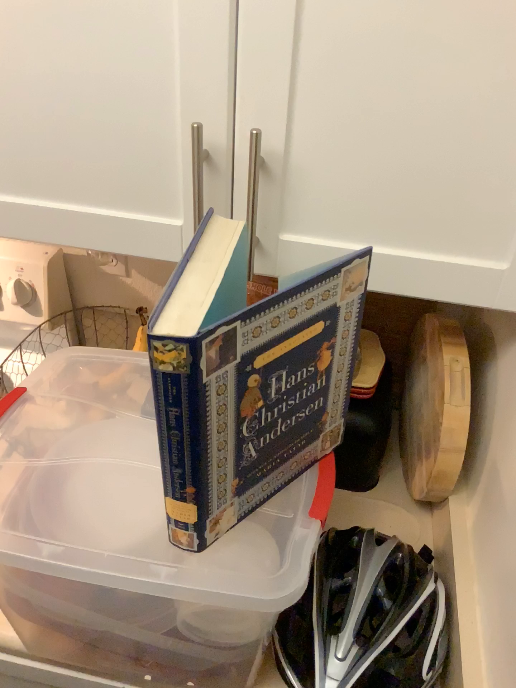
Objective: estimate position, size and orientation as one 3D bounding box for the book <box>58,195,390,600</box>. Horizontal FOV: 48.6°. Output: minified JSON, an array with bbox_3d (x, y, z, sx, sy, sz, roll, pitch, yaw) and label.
[{"bbox_3d":[-0.019,0.039,0.572,0.200,0.260,0.250,17,39,15],"label":"book"}]
